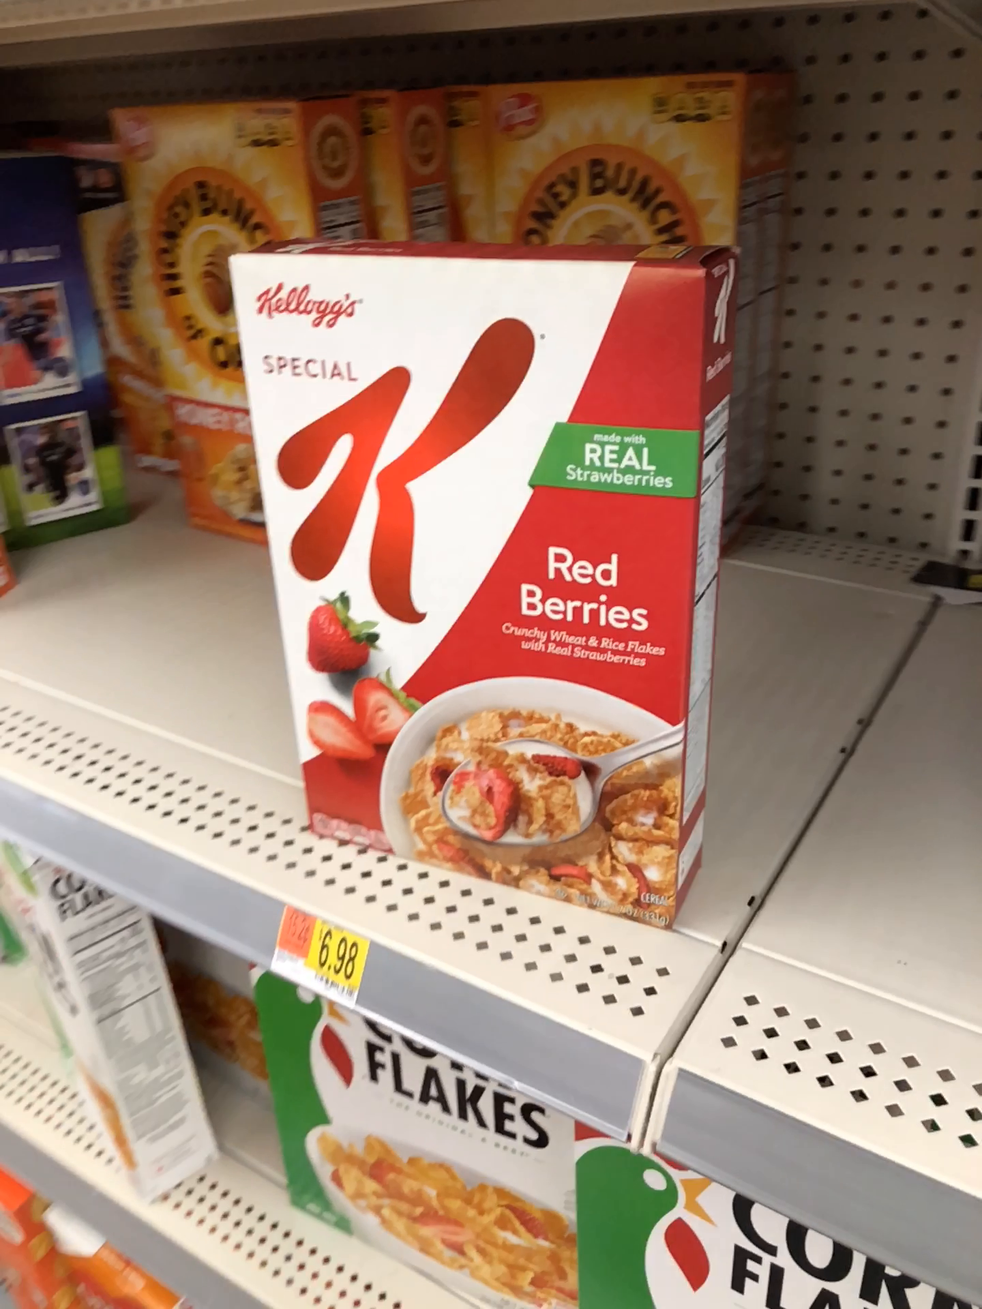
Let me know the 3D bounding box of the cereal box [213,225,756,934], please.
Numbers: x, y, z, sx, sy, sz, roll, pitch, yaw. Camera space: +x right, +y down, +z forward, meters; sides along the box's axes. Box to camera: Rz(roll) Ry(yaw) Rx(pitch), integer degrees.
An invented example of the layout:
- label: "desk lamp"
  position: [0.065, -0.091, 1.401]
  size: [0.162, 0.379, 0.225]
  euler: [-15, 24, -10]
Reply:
- label: "cereal box"
  position: [0.002, -0.029, 0.473]
  size: [0.200, 0.289, 0.050]
  euler: [10, 32, 24]
